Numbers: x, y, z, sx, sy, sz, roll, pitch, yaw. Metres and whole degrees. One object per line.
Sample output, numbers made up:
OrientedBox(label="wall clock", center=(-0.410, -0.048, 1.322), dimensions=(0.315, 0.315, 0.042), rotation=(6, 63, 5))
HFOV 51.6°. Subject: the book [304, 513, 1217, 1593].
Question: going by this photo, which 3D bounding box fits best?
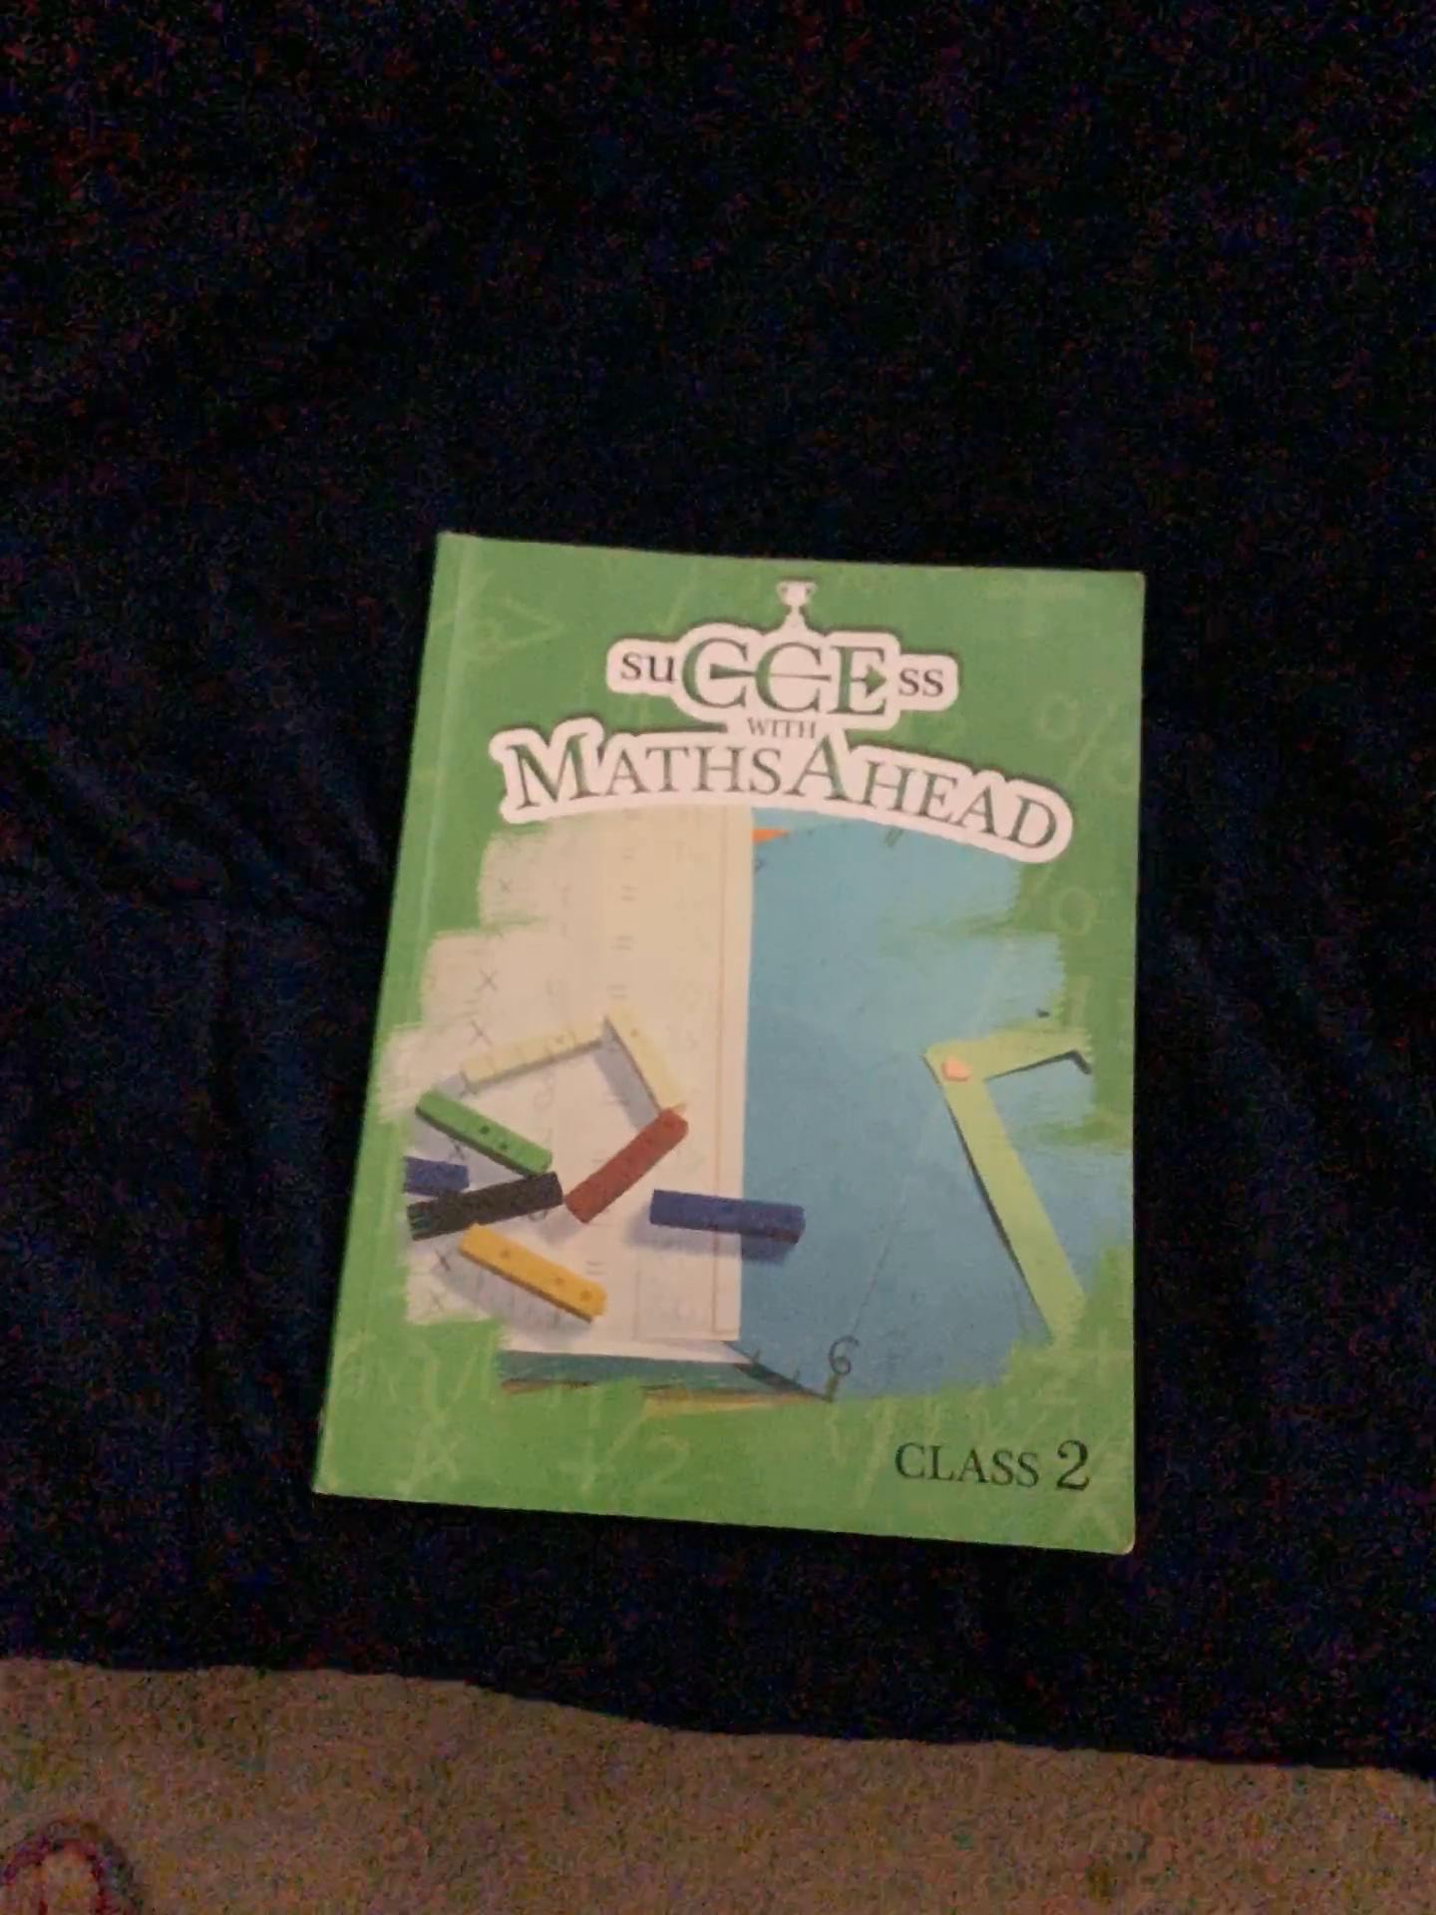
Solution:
OrientedBox(label="book", center=(0.019, 0.017, 0.416), dimensions=(0.230, 0.020, 0.280), rotation=(4, 79, 1))
